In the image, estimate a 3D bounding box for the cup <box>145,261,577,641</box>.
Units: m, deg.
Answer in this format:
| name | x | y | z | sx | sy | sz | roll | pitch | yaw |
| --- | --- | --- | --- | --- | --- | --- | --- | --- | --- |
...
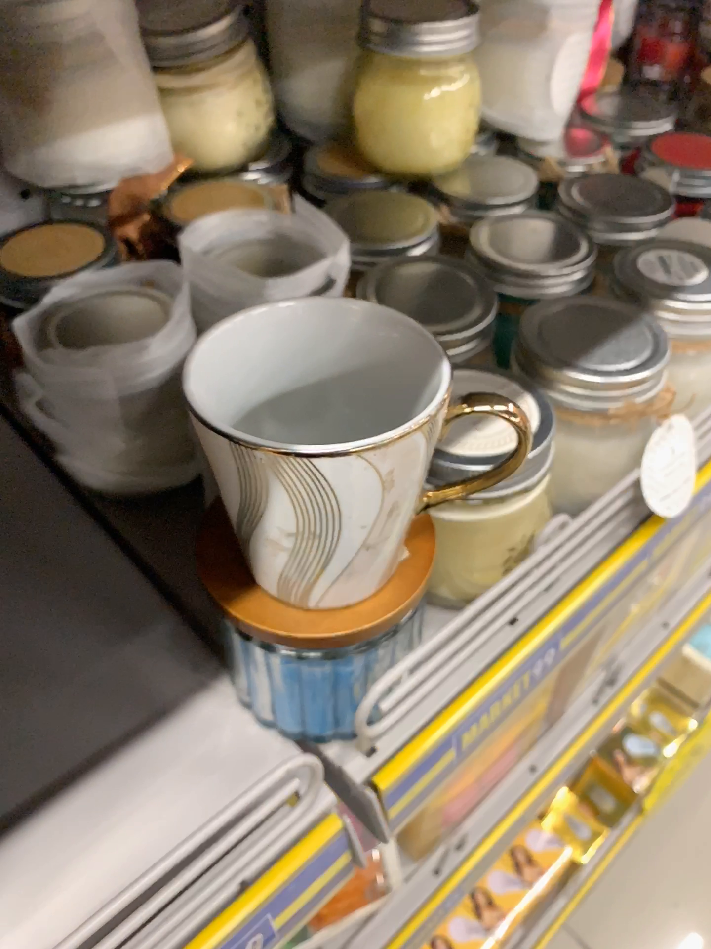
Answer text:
| name | x | y | z | sx | sy | sz | roll | pitch | yaw |
| --- | --- | --- | --- | --- | --- | --- | --- | --- | --- |
| cup | 0.003 | -0.007 | 0.204 | 0.090 | 0.070 | 0.070 | 3 | 45 | 3 |
